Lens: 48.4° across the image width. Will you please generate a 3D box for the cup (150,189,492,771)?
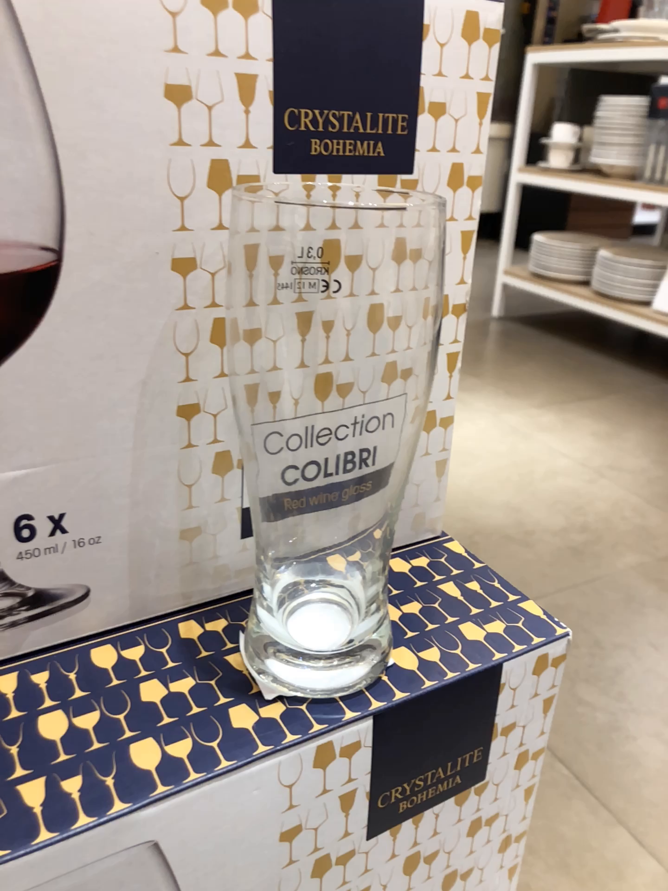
[{"bbox_3d":[-0.012,0.007,0.265,0.080,0.179,0.080,2,24,-1],"label":"cup"}]
